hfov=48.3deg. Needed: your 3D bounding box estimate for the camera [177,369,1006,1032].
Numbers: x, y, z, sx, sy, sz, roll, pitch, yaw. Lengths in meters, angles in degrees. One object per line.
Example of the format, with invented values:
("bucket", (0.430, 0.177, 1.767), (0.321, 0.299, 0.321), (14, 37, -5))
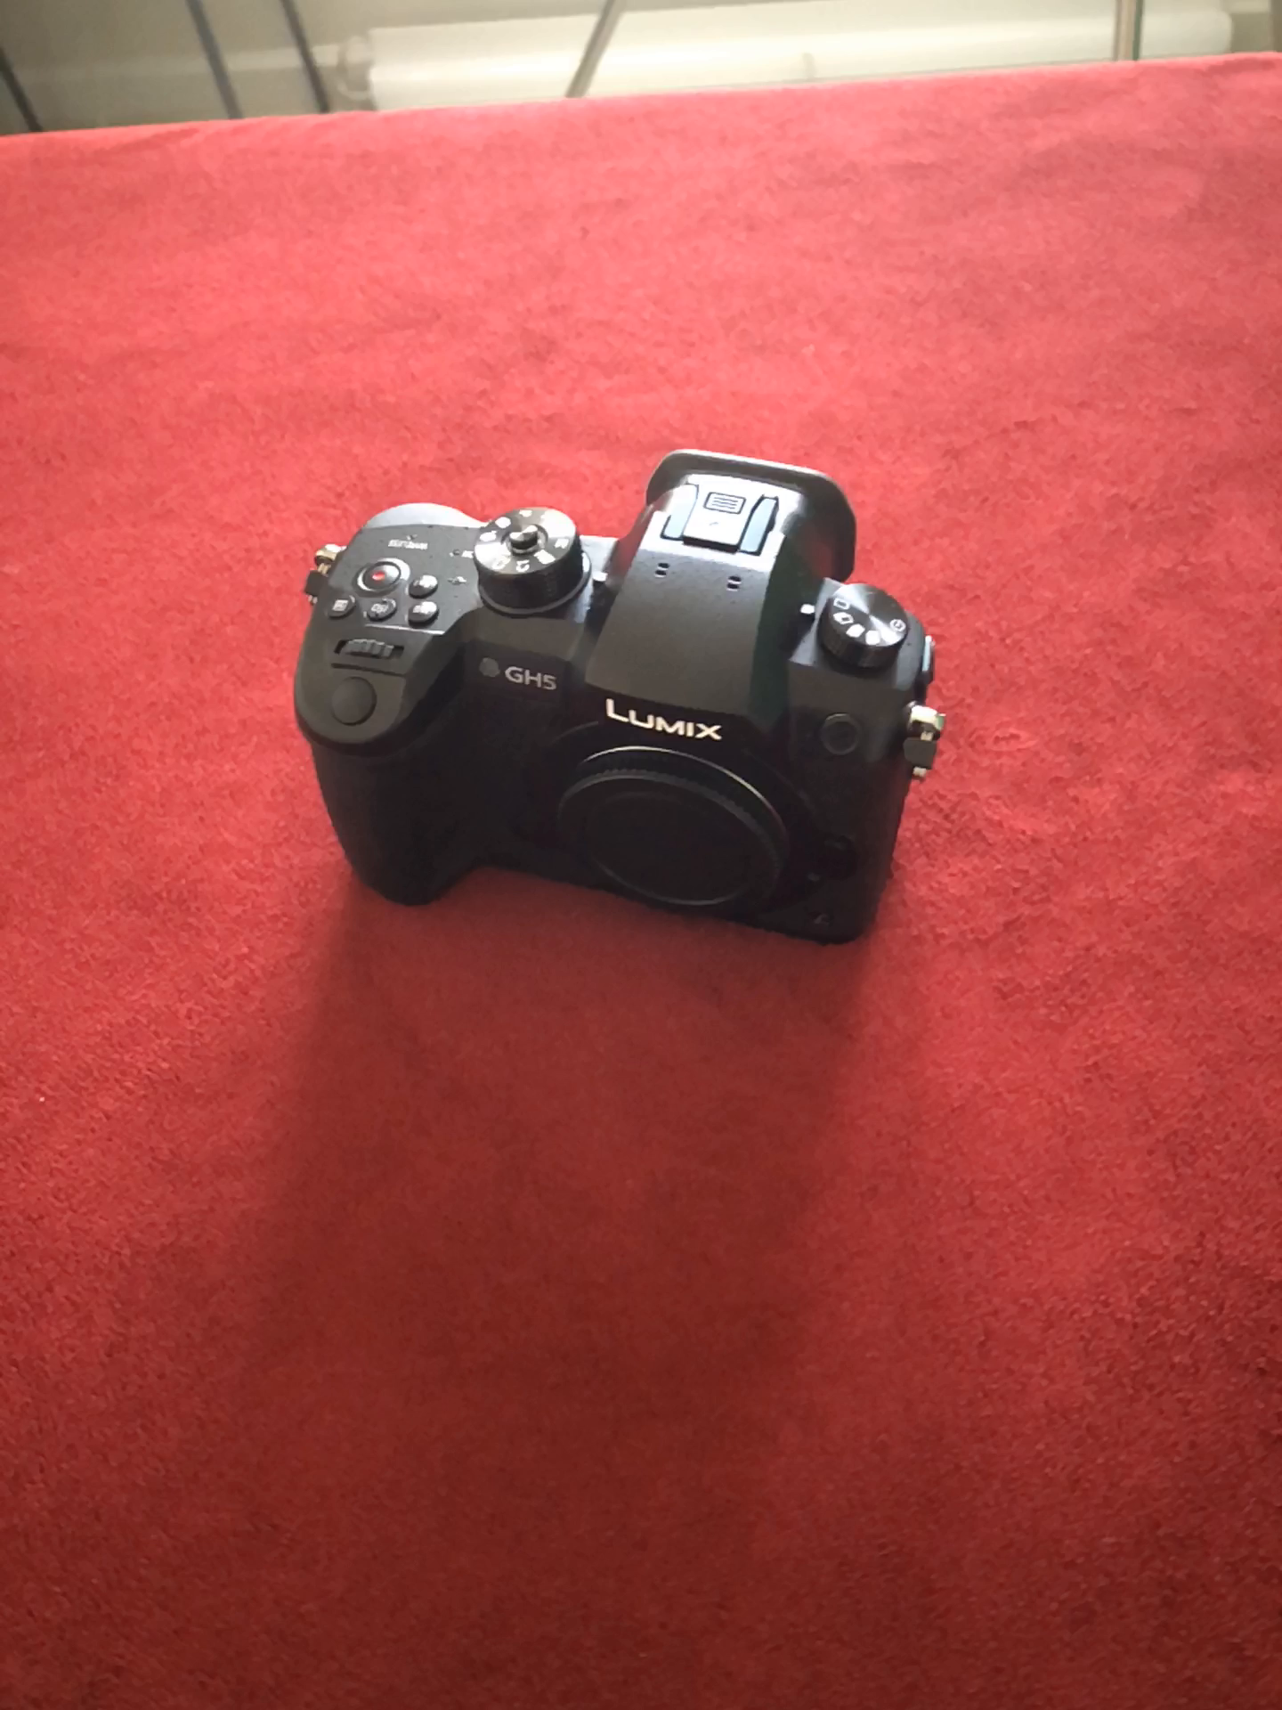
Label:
("camera", (-0.006, -0.036, 0.323), (0.148, 0.087, 0.086), (13, 55, 12))
